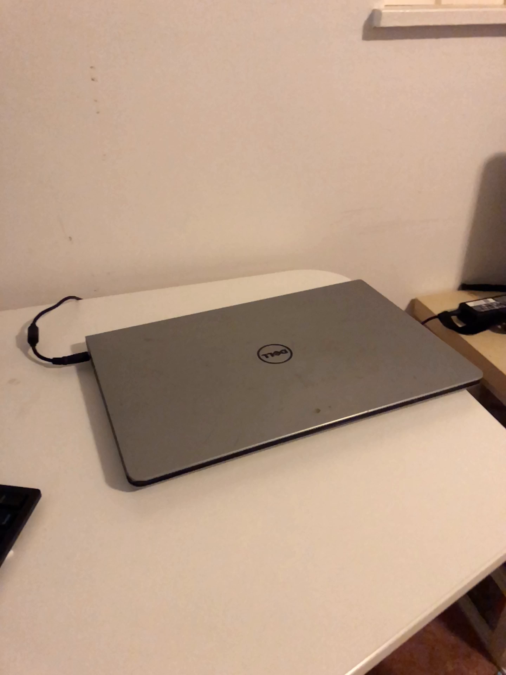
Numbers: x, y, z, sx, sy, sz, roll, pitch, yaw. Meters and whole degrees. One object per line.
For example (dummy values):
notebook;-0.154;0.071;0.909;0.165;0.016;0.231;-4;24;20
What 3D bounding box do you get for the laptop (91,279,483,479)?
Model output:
laptop;0.024;0.020;0.629;0.371;0.001;0.248;-14;35;-18
